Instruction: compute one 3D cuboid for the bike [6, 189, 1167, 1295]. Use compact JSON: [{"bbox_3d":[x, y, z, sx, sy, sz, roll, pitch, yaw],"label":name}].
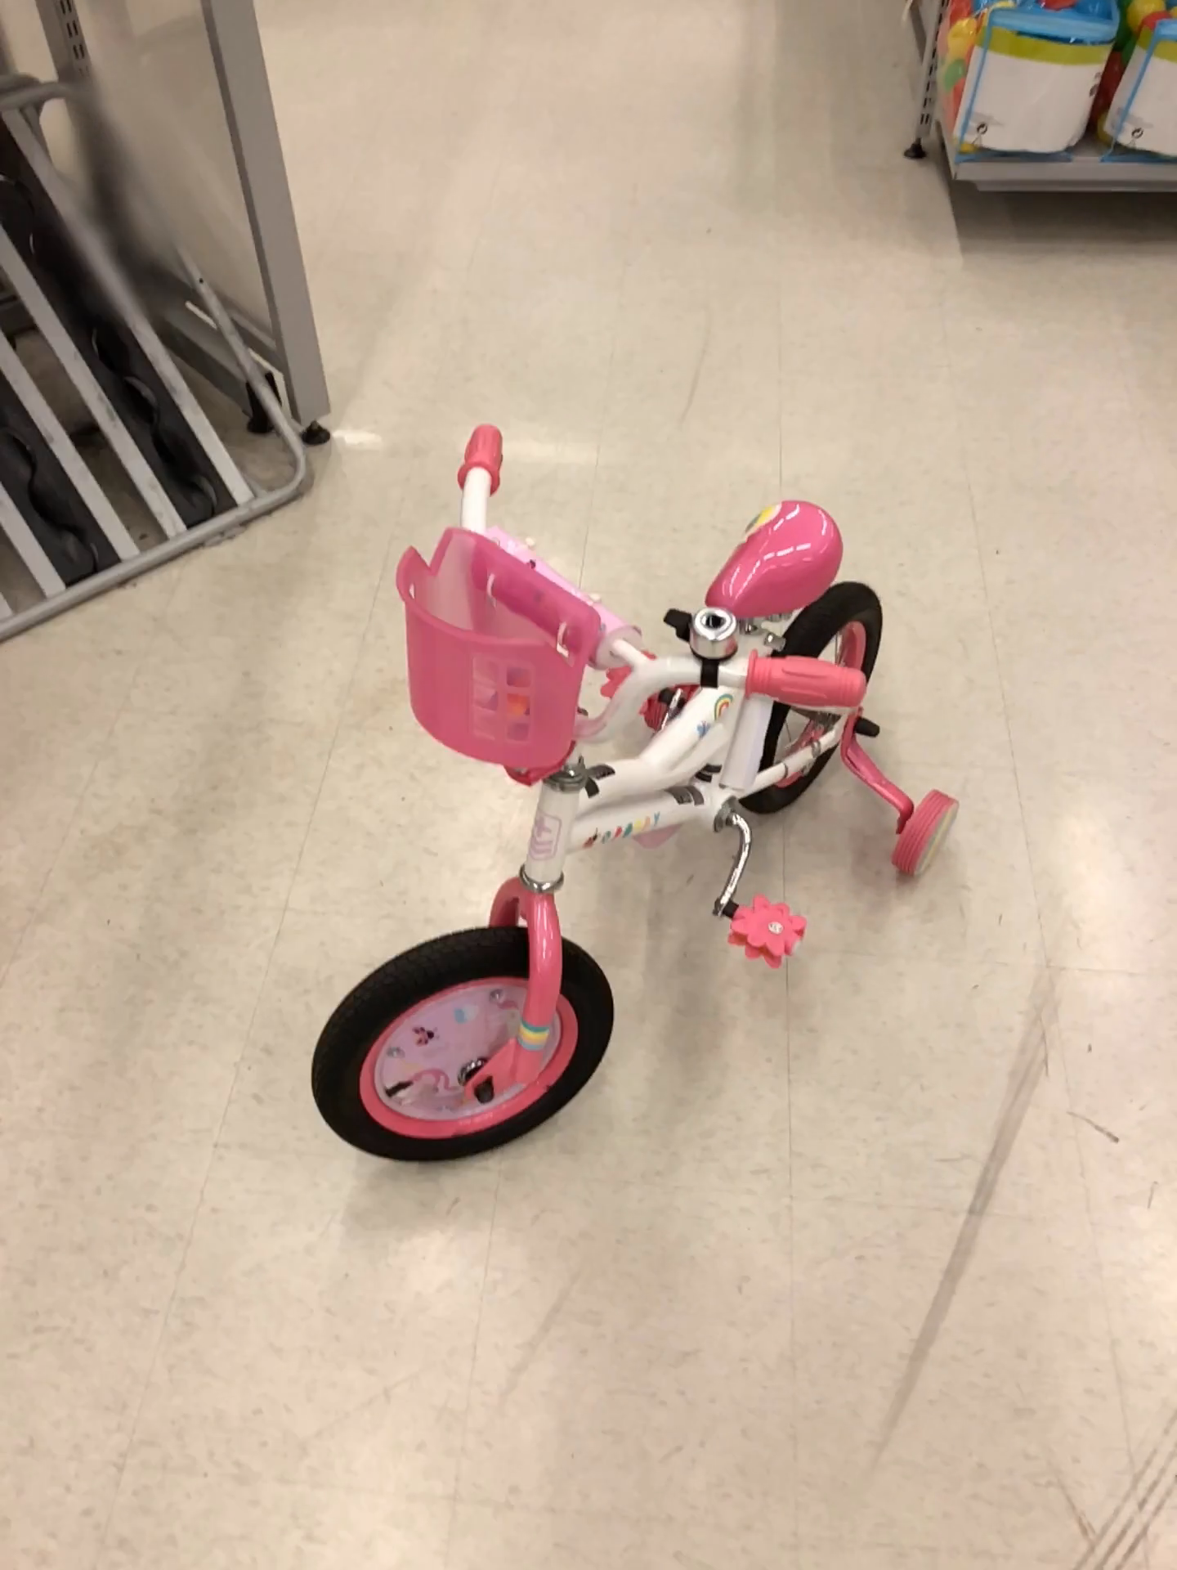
[{"bbox_3d":[0.039,-0.058,1.320,0.458,0.632,0.880,36,61,26],"label":"bike"}]
